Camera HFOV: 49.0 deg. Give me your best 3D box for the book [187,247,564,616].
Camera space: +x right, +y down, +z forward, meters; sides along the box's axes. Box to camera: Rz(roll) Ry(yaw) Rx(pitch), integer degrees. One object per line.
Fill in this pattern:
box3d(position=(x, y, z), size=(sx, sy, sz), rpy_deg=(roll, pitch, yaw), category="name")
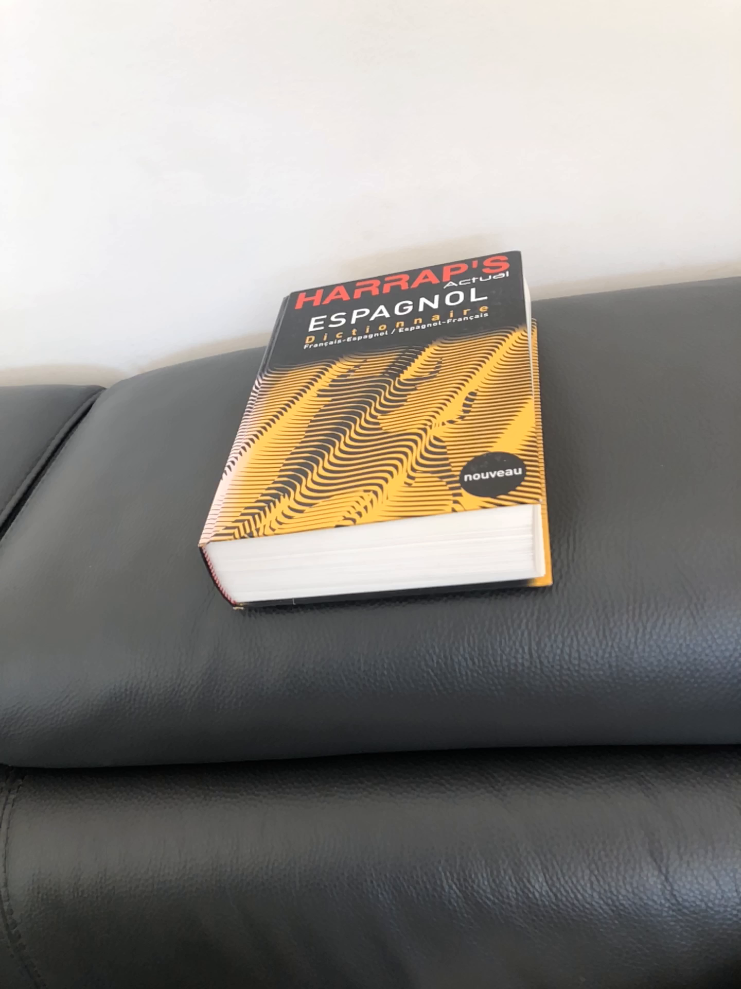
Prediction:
box3d(position=(0.015, -0.051, 0.505), size=(0.185, 0.050, 0.262), rpy_deg=(-7, 42, 15), category="book")
